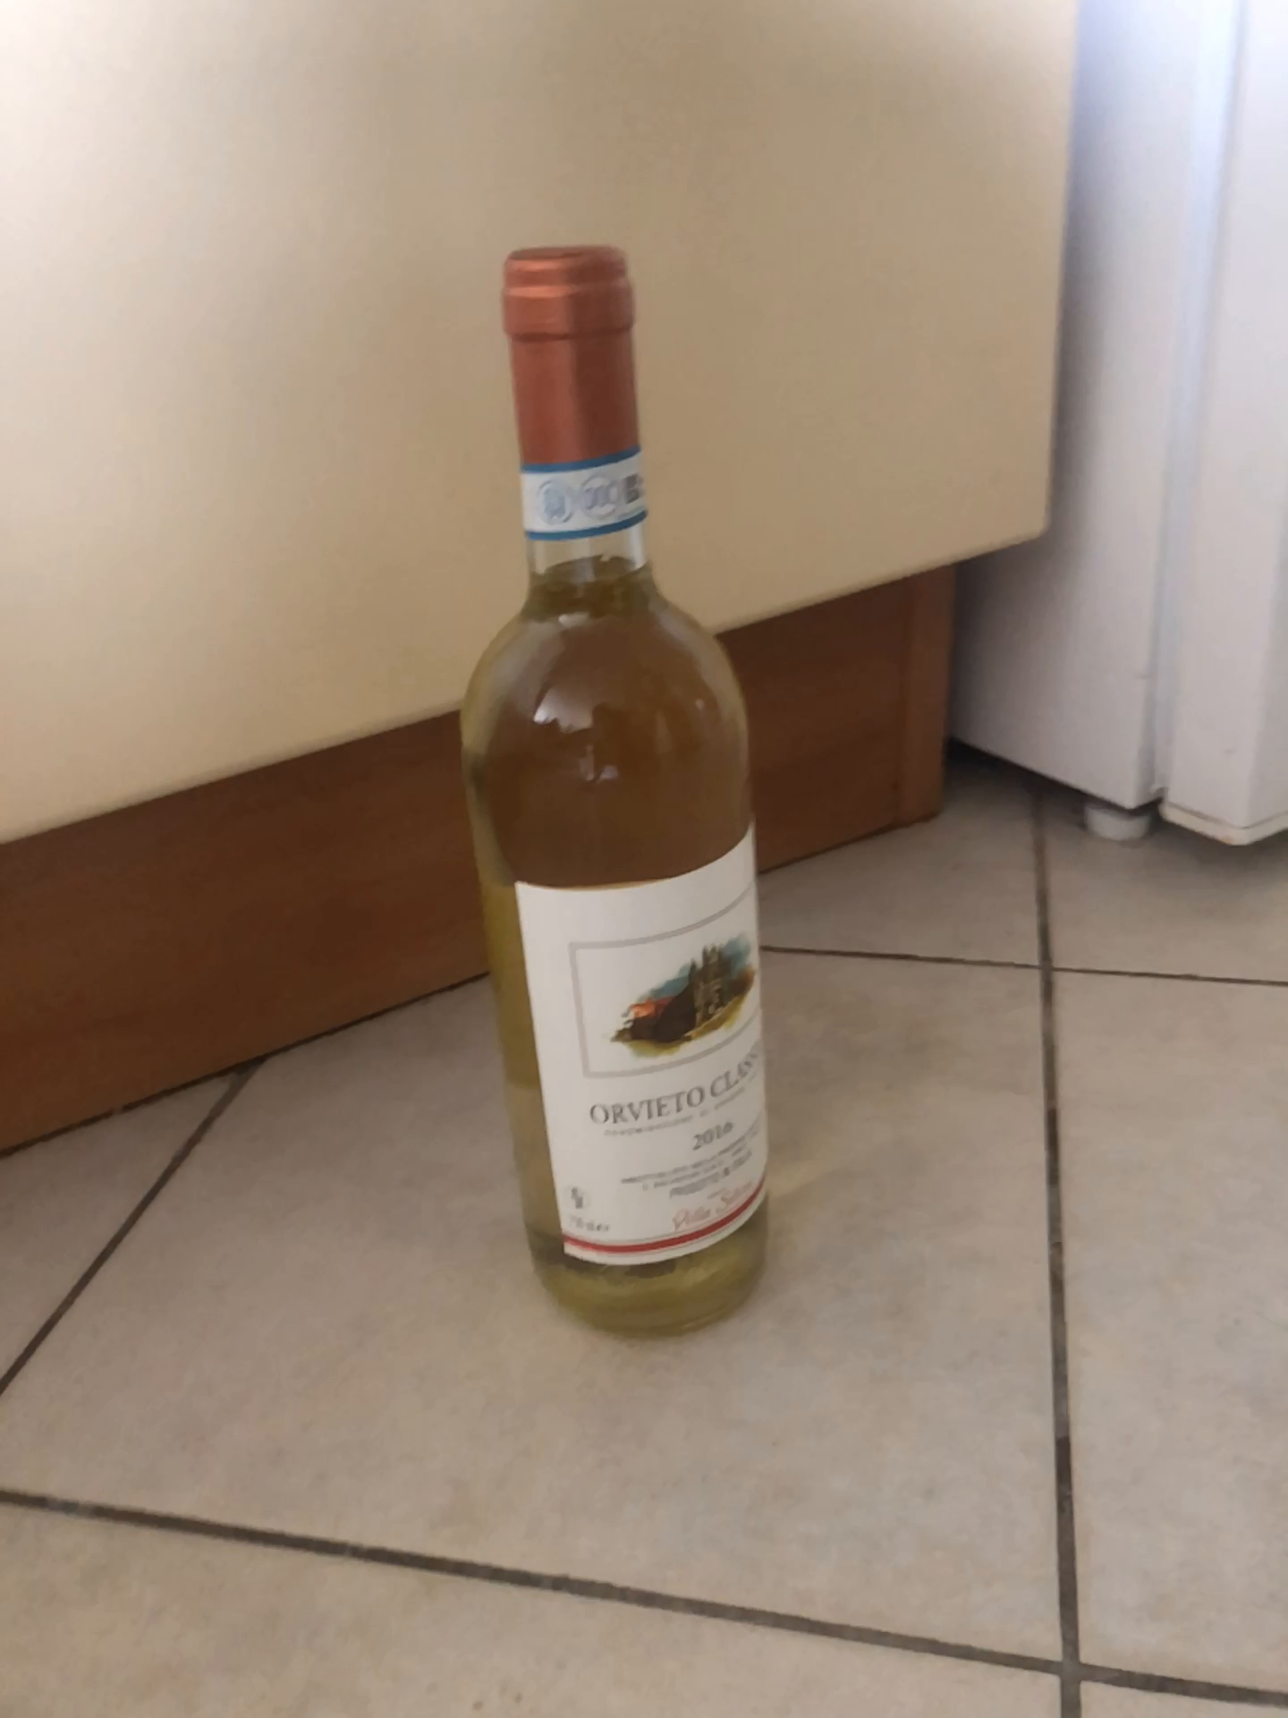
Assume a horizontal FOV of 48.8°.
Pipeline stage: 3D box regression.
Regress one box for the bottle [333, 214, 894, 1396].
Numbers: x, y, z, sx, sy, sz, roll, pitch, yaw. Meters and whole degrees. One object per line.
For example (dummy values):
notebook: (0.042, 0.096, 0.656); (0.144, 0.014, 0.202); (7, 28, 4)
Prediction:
bottle: (-0.001, -0.011, 0.381); (0.090, 0.288, 0.090); (-3, 27, 1)
